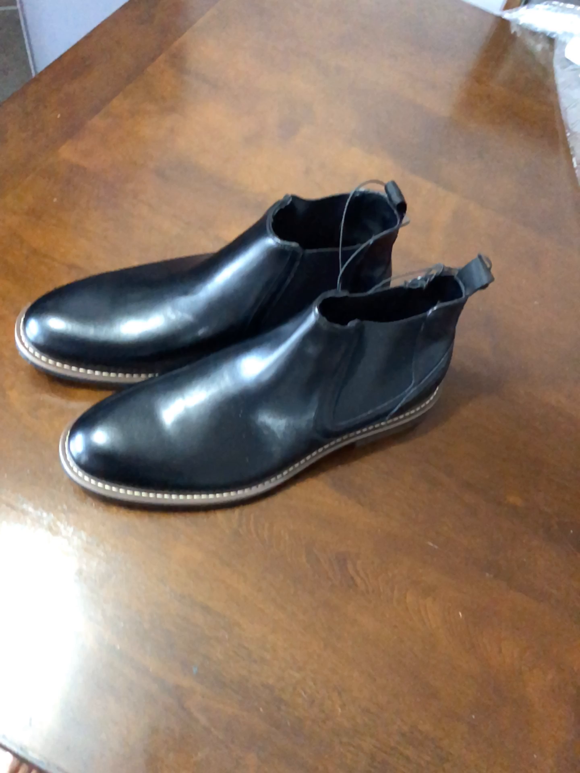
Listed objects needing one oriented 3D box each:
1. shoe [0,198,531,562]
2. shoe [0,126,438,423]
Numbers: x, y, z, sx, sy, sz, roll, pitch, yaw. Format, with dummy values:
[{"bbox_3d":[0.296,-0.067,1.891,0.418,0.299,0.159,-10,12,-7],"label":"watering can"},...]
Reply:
[{"bbox_3d":[-0.018,-0.004,0.462,0.300,0.170,0.120,-16,65,-18],"label":"shoe"},{"bbox_3d":[-0.067,-0.088,0.514,0.300,0.170,0.120,-10,64,-15],"label":"shoe"}]
